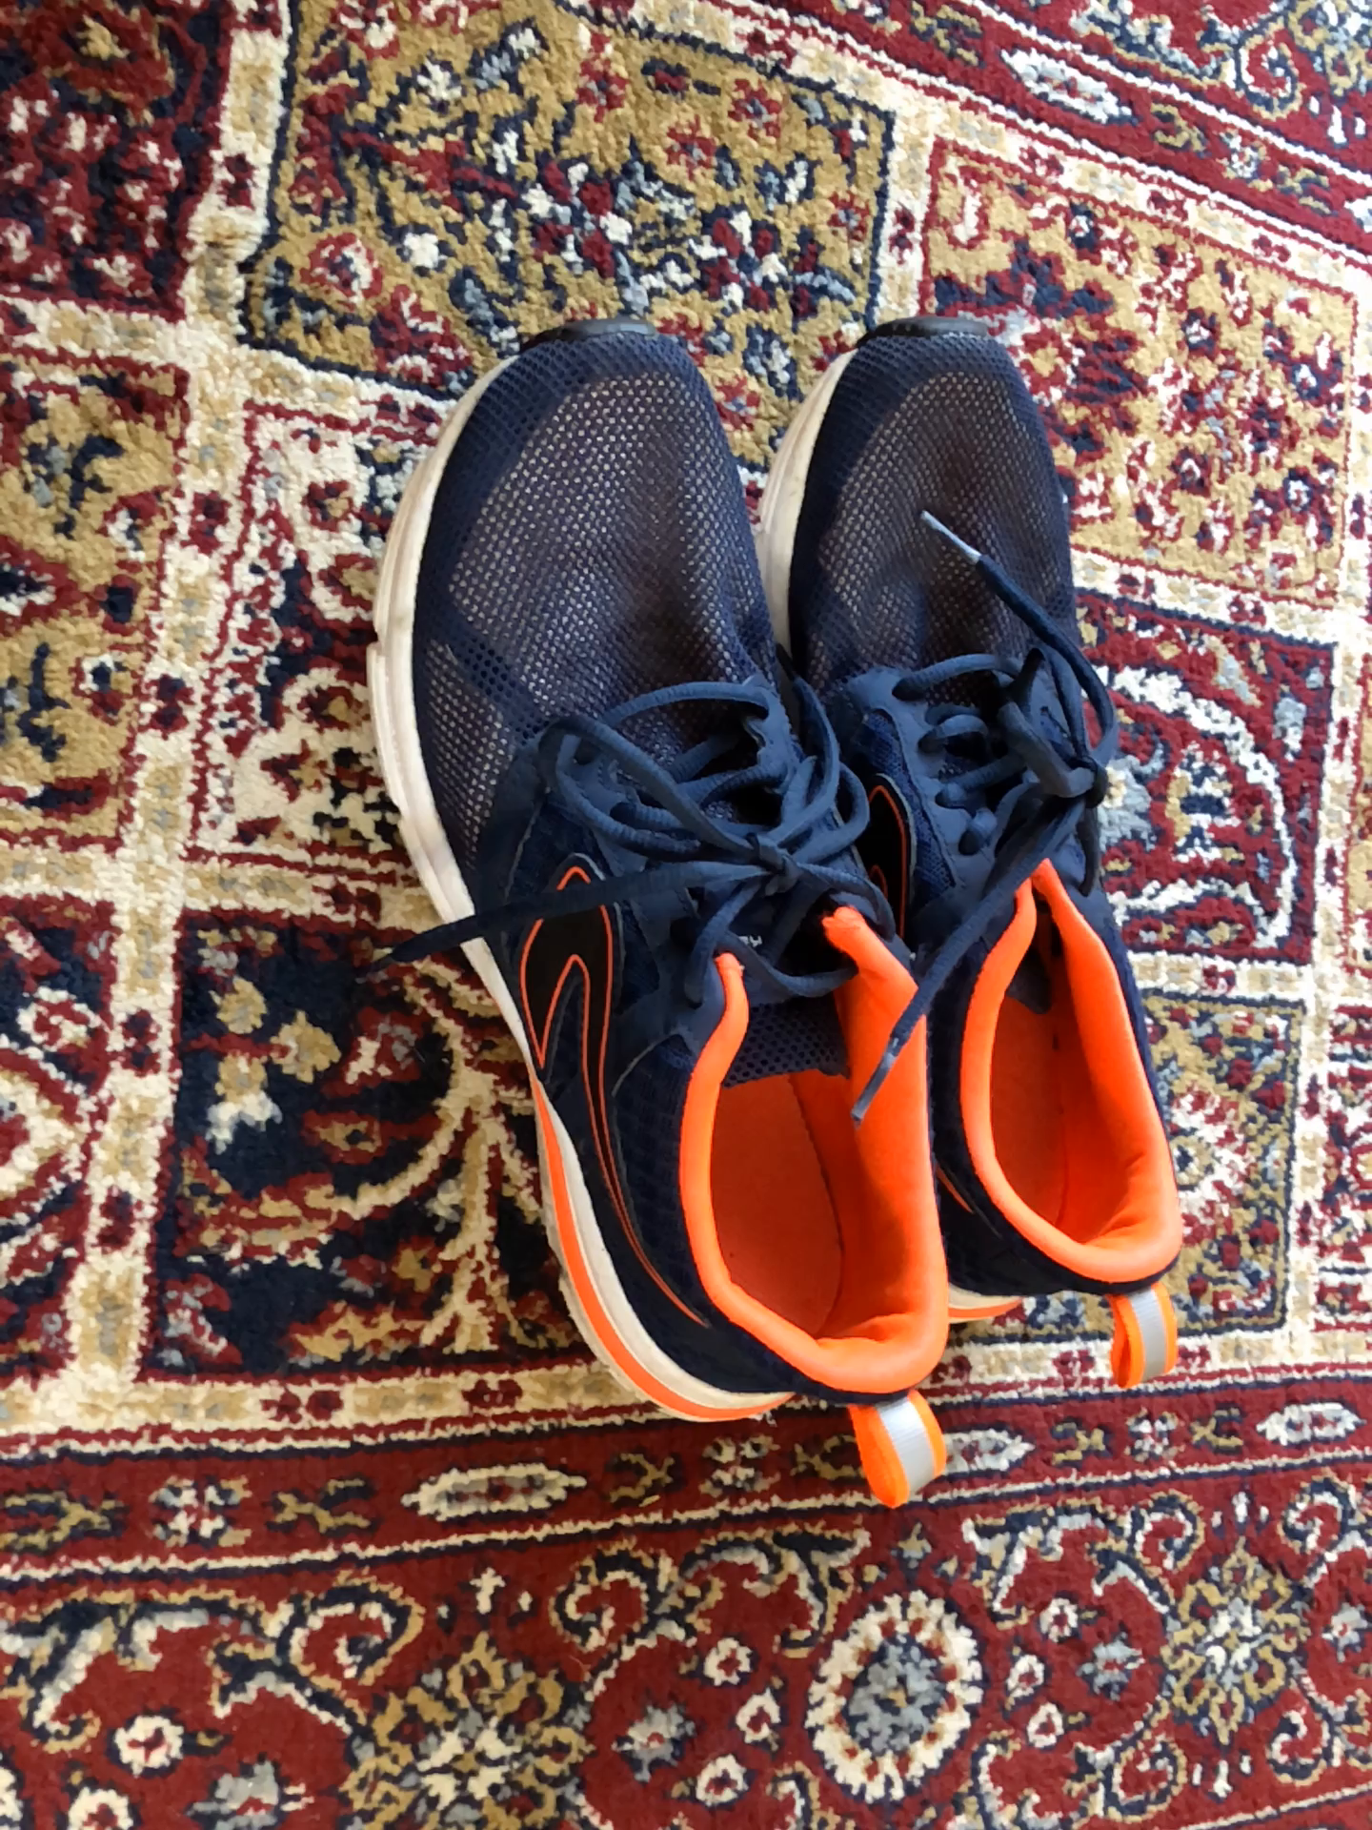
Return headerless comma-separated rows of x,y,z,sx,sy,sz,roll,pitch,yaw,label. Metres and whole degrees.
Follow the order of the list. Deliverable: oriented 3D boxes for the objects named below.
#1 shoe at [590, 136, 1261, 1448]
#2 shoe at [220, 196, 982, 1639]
0.067,-0.035,0.464,0.120,0.130,0.330,-7,93,-23,shoe
-0.030,-0.005,0.425,0.120,0.130,0.330,-12,95,-23,shoe
